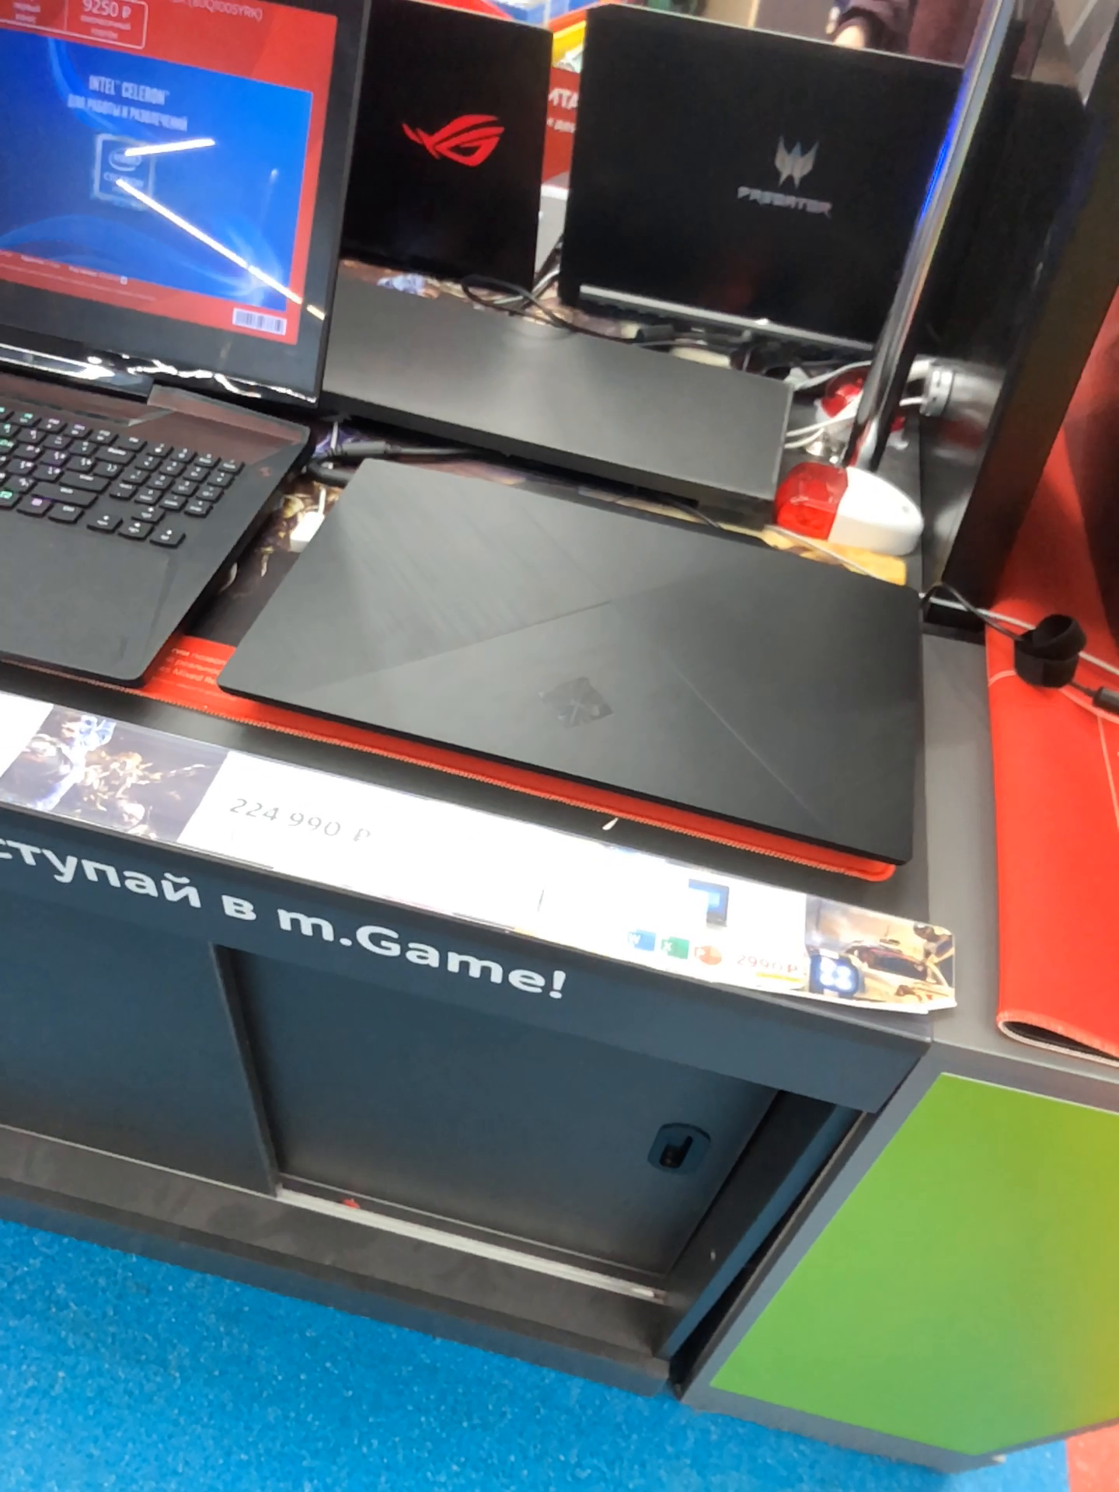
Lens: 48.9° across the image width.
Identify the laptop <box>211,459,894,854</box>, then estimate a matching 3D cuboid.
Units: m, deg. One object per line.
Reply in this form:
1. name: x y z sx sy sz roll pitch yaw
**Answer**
1. laptop: 0.018 -0.075 0.790 0.398 0.002 0.262 14 43 4
